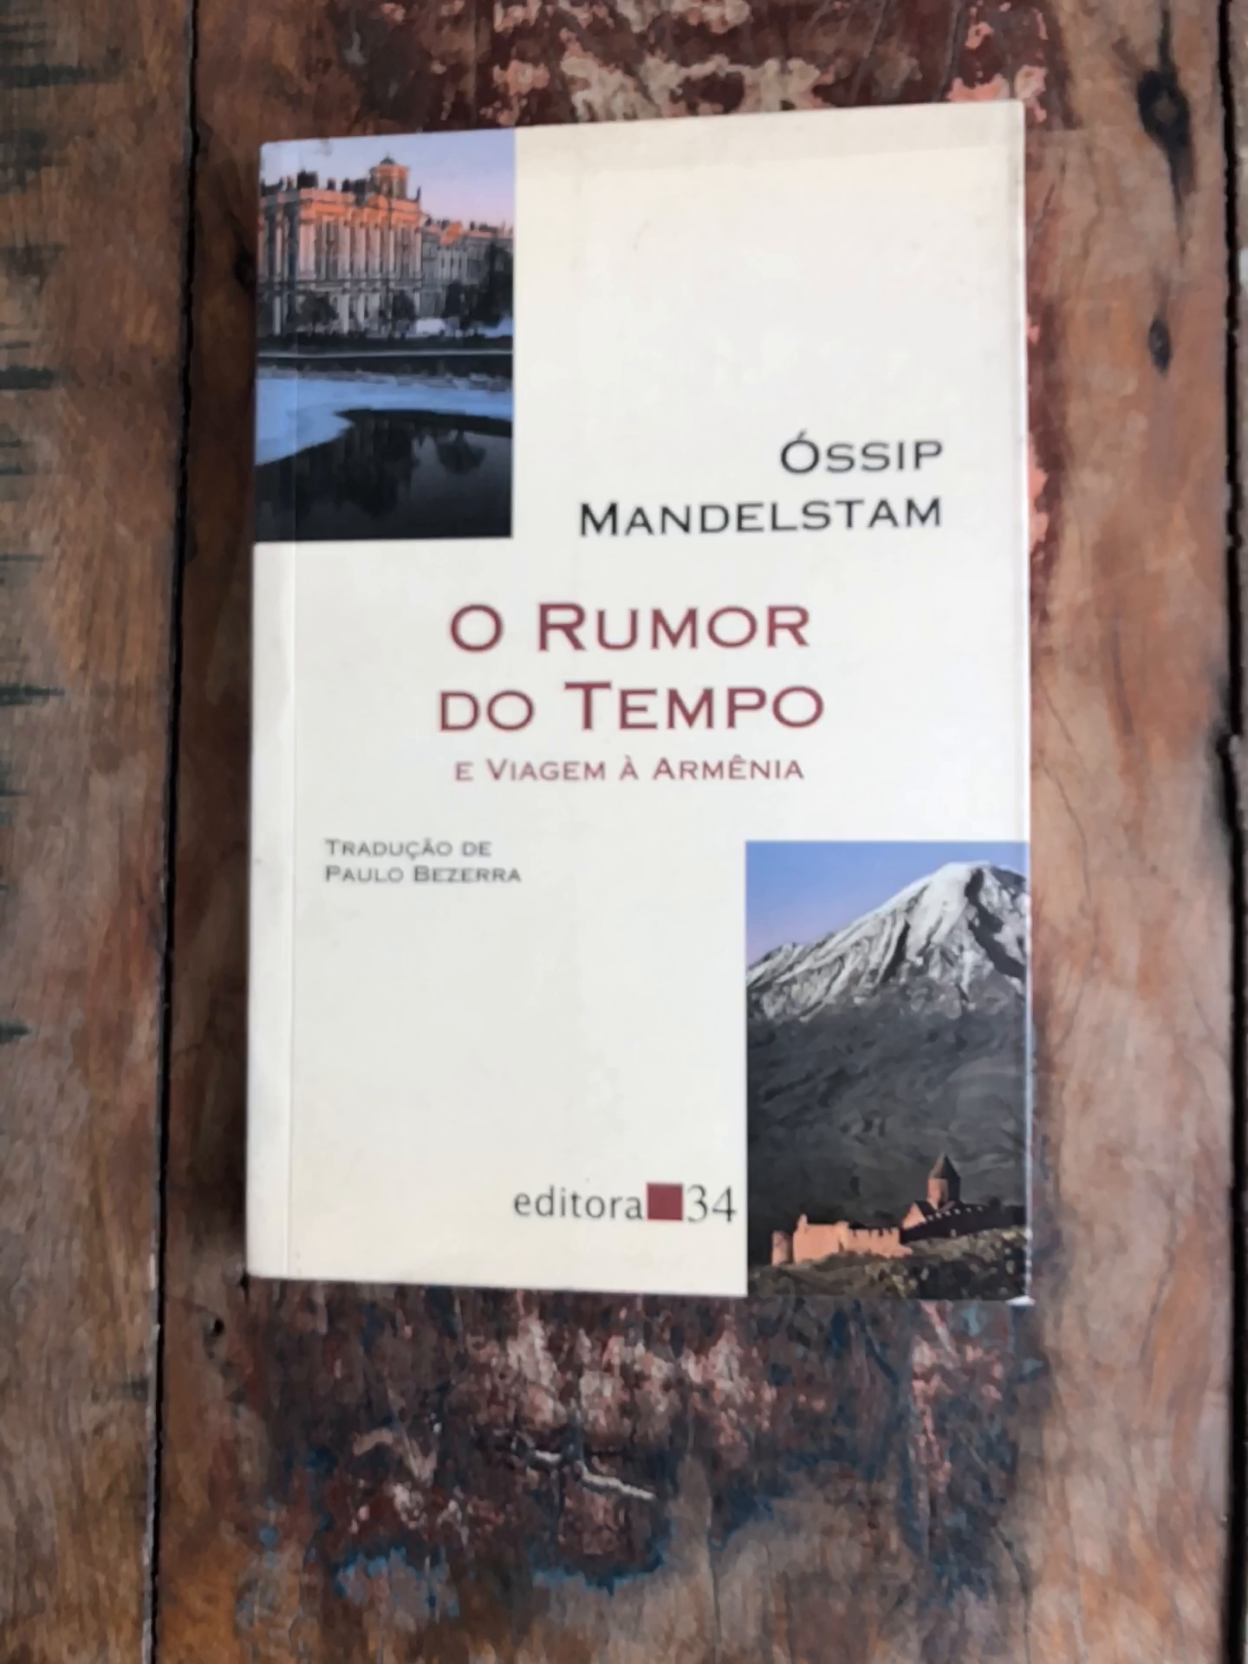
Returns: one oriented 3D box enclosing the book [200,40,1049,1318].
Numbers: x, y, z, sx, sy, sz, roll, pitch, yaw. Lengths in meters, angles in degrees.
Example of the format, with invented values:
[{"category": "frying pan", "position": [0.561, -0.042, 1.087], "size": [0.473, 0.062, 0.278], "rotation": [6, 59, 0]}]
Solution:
[{"category": "book", "position": [-0.001, -0.027, 0.247], "size": [0.140, 0.022, 0.207], "rotation": [1, 89, 7]}]
